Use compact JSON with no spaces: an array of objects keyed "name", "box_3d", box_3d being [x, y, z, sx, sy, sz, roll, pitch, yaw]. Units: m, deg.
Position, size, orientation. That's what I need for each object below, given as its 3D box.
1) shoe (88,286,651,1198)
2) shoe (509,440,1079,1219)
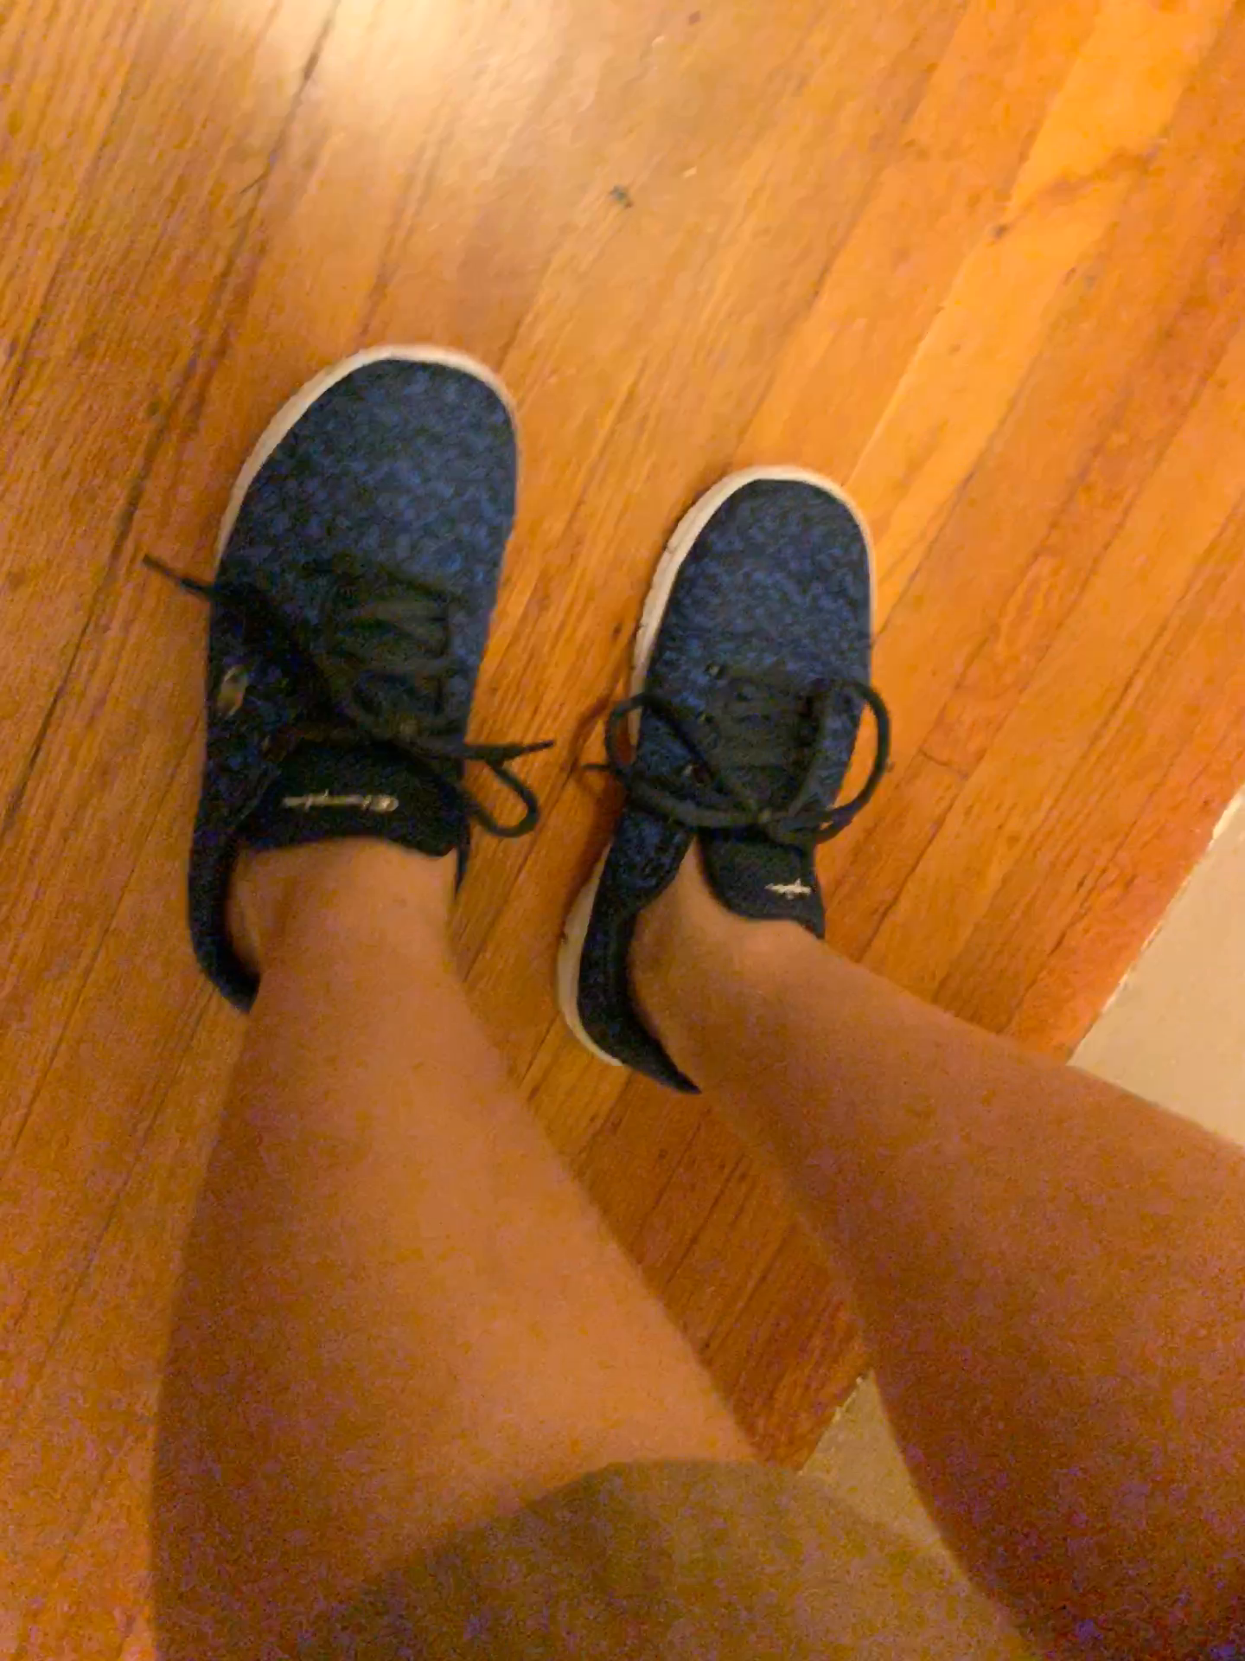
[{"name":"shoe","box_3d":[-0.106,-0.034,0.482,0.115,0.149,0.291,12,108,-20]},{"name":"shoe","box_3d":[0.053,0.001,0.531,0.117,0.130,0.281,9,109,-19]}]
